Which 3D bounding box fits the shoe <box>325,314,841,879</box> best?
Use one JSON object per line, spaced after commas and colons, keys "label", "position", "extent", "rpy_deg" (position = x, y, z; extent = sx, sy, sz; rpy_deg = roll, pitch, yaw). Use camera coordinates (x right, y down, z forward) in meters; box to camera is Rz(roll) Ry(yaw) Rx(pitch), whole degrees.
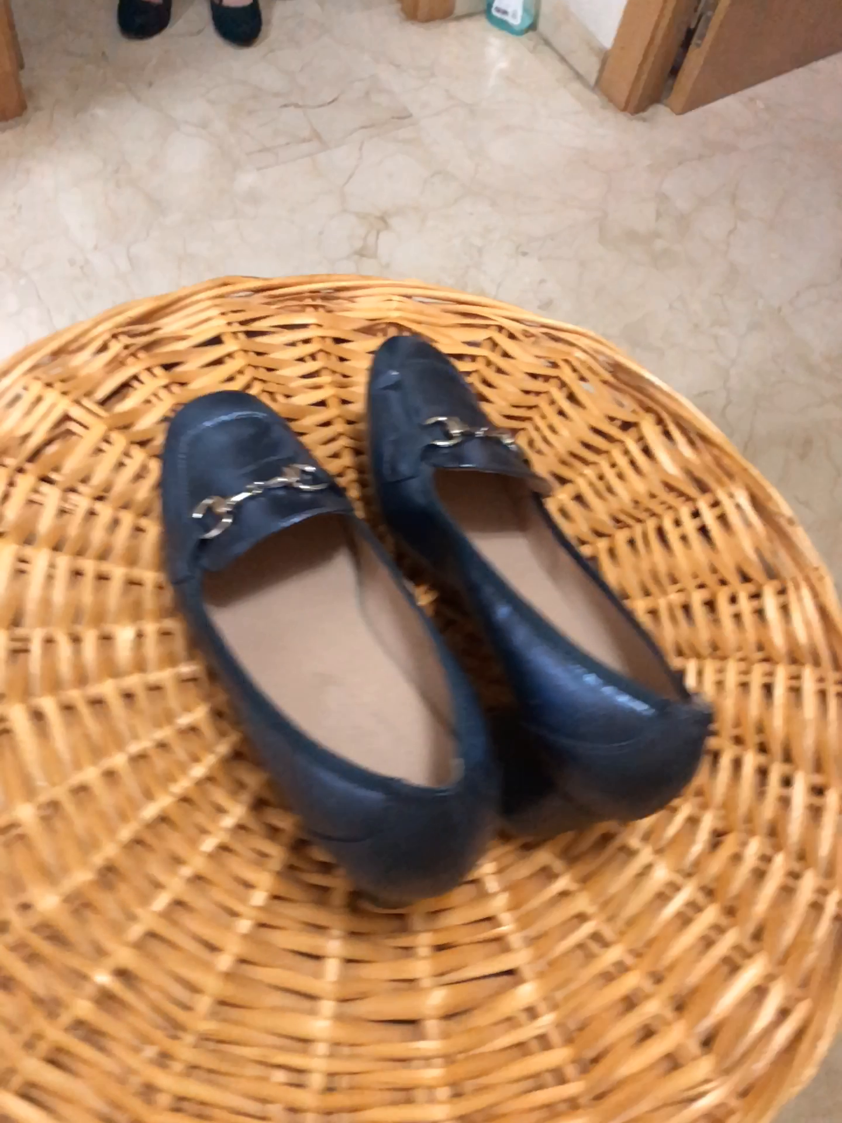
{"label": "shoe", "position": [0.048, -0.005, 0.420], "extent": [0.100, 0.090, 0.250], "rpy_deg": [-9, 47, -23]}

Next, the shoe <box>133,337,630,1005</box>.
{"label": "shoe", "position": [-0.037, 0.023, 0.385], "extent": [0.090, 0.090, 0.260], "rpy_deg": [-13, 51, -25]}
